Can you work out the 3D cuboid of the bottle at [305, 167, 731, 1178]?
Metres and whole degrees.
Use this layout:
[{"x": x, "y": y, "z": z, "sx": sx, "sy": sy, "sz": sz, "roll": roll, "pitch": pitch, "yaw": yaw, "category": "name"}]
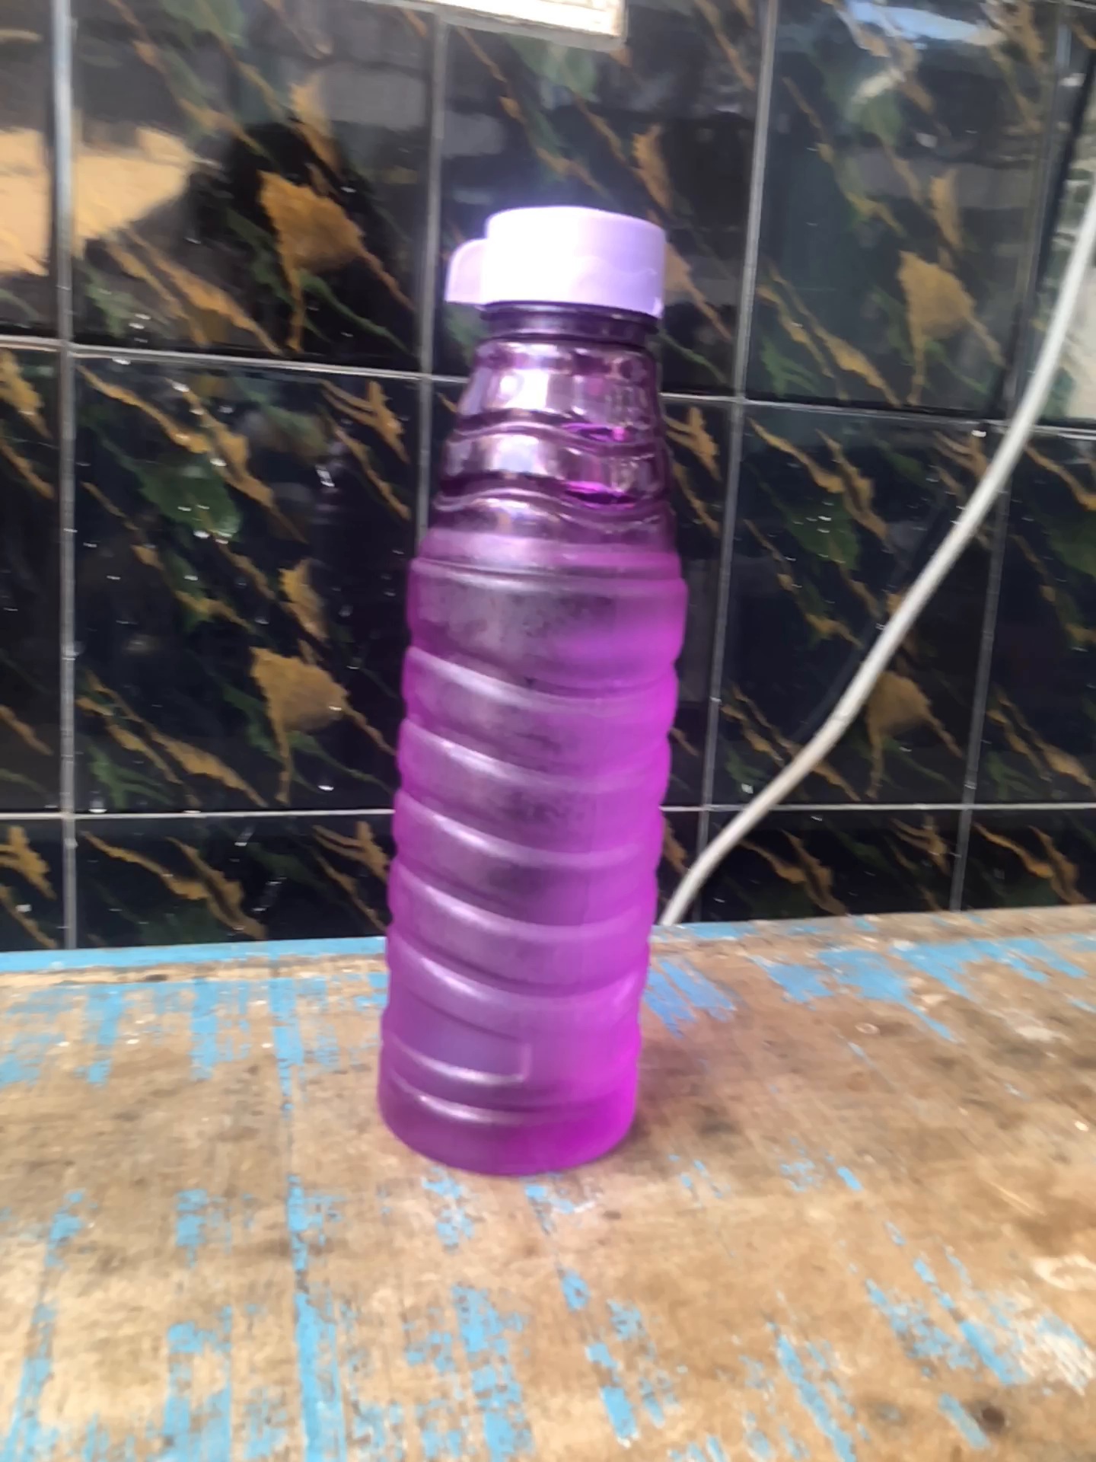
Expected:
[{"x": -0.013, "y": -0.011, "z": 0.327, "sx": 0.090, "sy": 0.239, "sz": 0.080, "roll": 2, "pitch": 11, "yaw": -4, "category": "bottle"}]
